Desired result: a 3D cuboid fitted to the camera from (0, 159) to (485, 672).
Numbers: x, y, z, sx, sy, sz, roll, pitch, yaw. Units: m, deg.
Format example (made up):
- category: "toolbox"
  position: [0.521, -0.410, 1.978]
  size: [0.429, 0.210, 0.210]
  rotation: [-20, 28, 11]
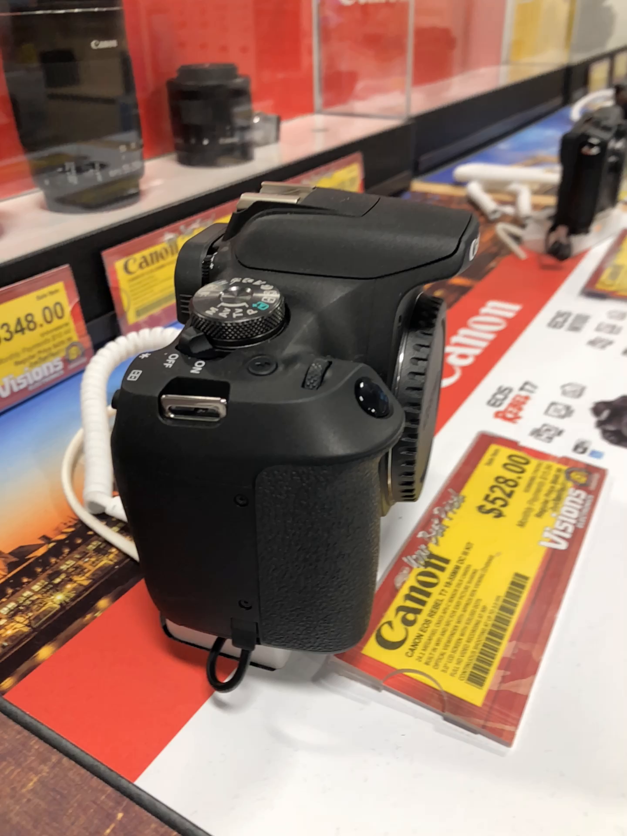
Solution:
- category: "camera"
  position: [-0.005, -0.017, 0.208]
  size: [0.090, 0.089, 0.131]
  rotation: [7, 32, 16]
